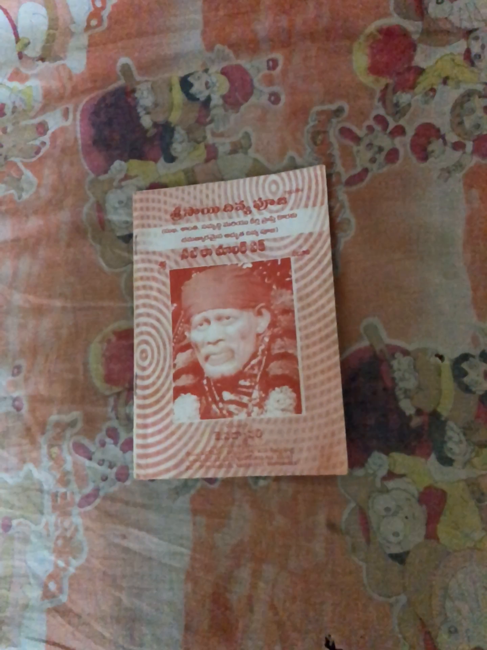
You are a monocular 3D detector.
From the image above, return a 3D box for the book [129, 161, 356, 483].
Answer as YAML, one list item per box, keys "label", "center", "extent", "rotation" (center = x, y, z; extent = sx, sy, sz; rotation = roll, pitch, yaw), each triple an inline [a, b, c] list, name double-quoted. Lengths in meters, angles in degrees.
- label: "book"
  center: [-0.005, -0.003, 0.304]
  extent: [0.120, 0.010, 0.173]
  rotation: [-4, 78, 11]
